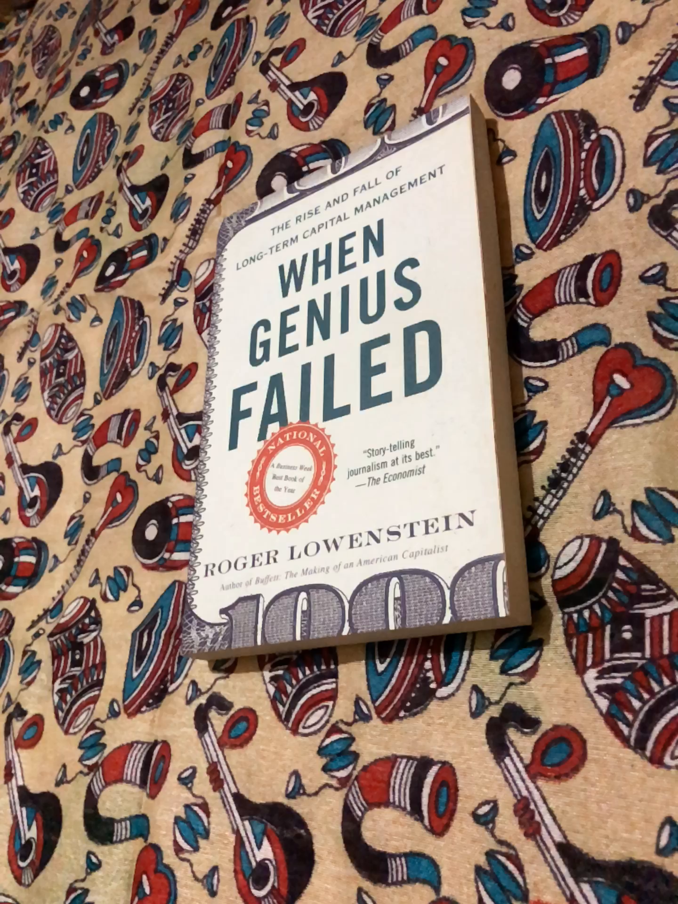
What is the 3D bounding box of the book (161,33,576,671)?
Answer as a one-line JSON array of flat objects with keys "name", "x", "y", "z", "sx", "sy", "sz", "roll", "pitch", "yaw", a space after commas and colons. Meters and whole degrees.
[{"name": "book", "x": 0.002, "y": -0.037, "z": 0.290, "sx": 0.140, "sy": 0.030, "sz": 0.220, "roll": -15, "pitch": 63, "yaw": 31}]
